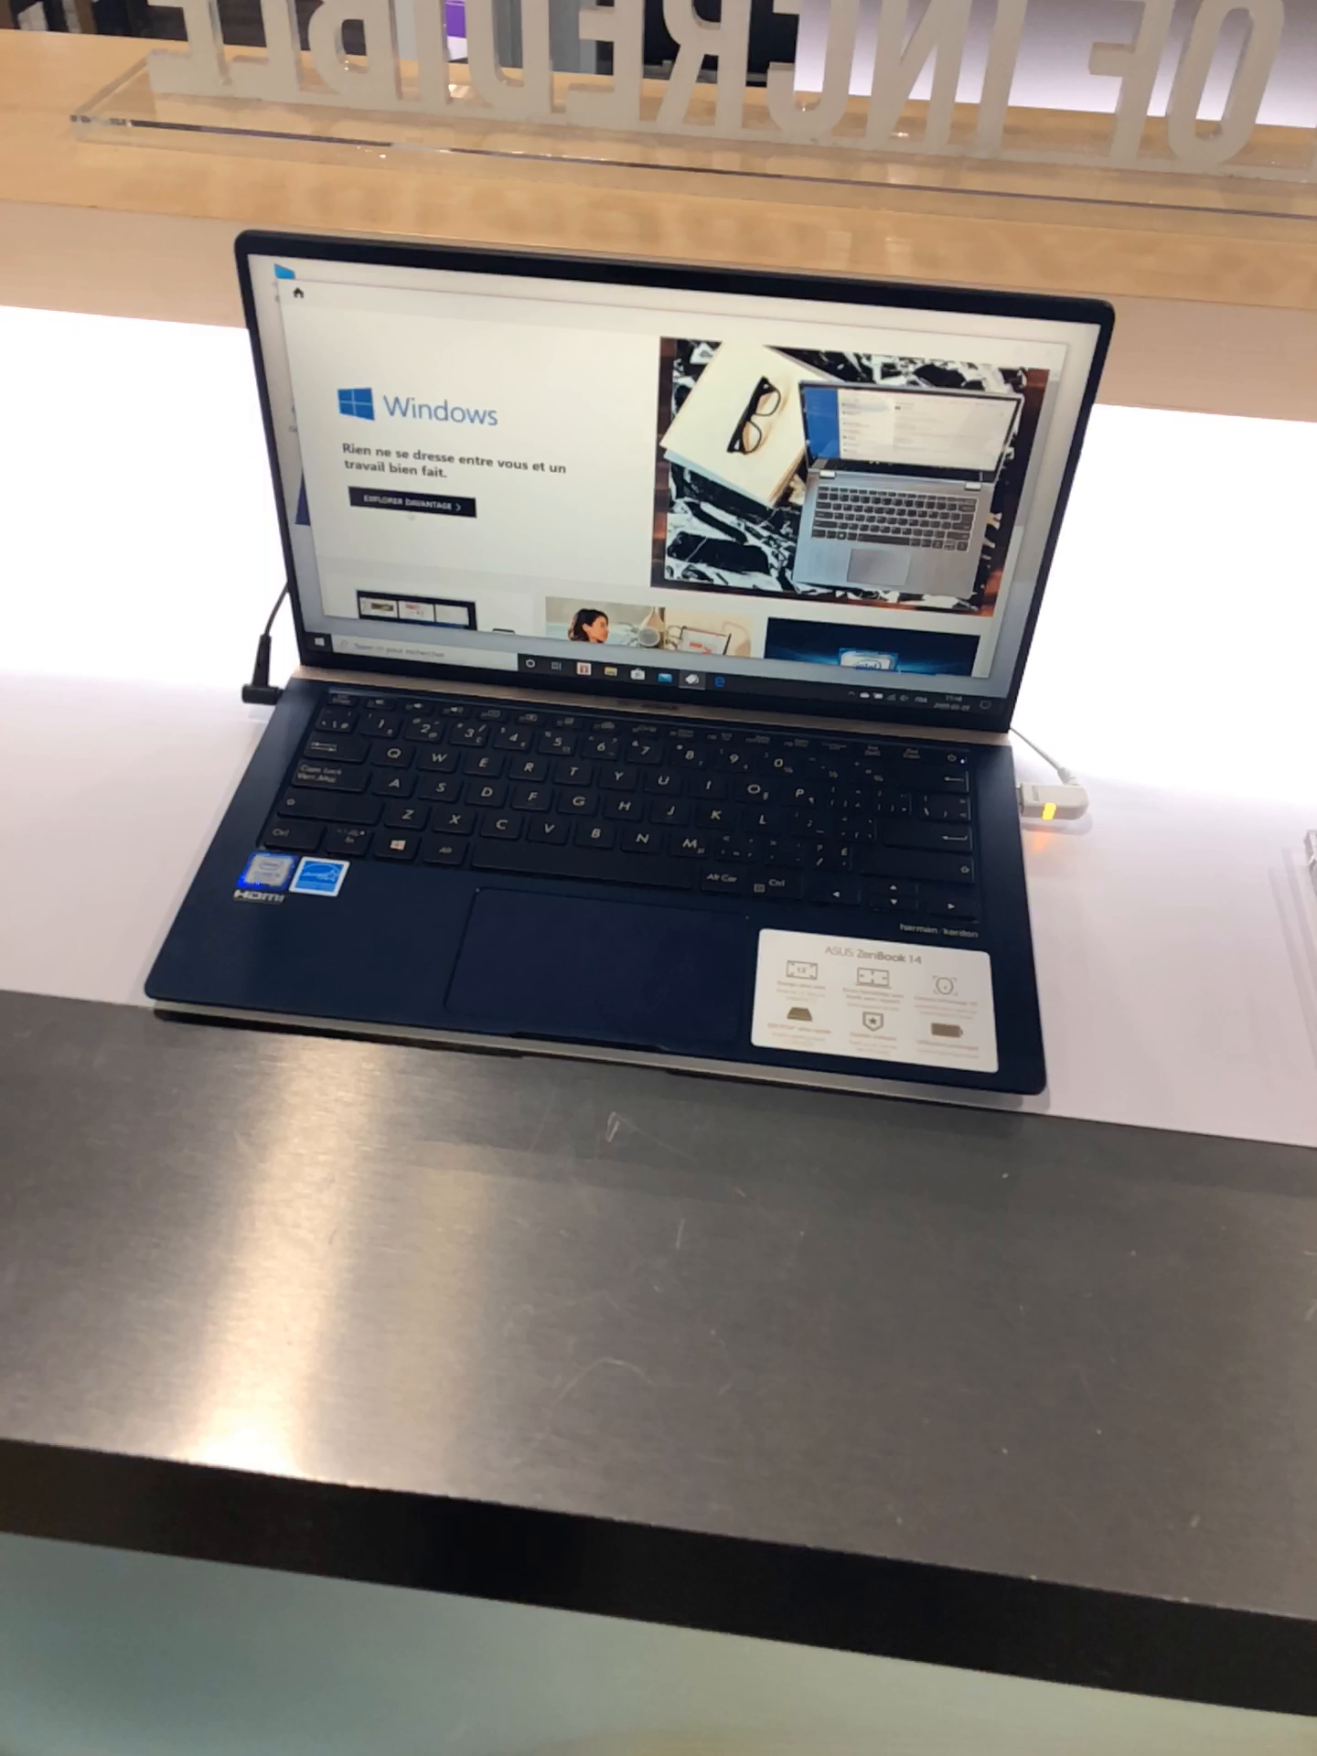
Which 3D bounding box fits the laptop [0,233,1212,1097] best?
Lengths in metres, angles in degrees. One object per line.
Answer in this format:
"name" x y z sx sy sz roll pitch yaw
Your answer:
"laptop" -0.010 -0.075 0.484 0.301 0.182 0.192 6 44 2
